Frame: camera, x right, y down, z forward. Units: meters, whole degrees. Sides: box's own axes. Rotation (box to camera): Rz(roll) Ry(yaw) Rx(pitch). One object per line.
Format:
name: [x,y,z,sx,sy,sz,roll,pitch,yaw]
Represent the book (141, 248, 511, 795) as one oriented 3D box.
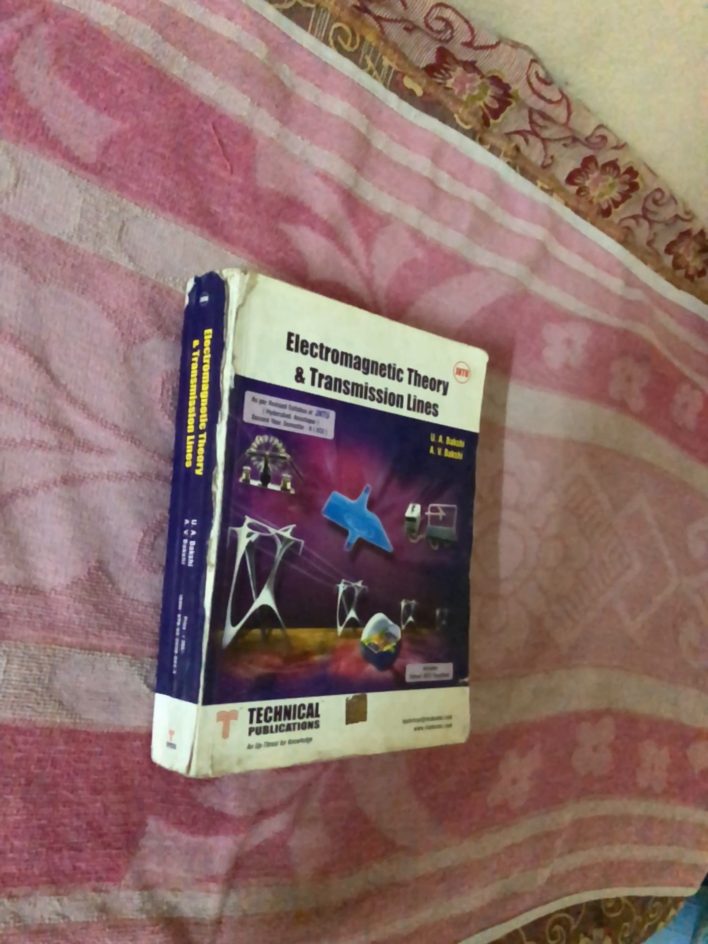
book: [-0.003,0.031,0.445,0.201,0.060,0.250,8,82,-39]
